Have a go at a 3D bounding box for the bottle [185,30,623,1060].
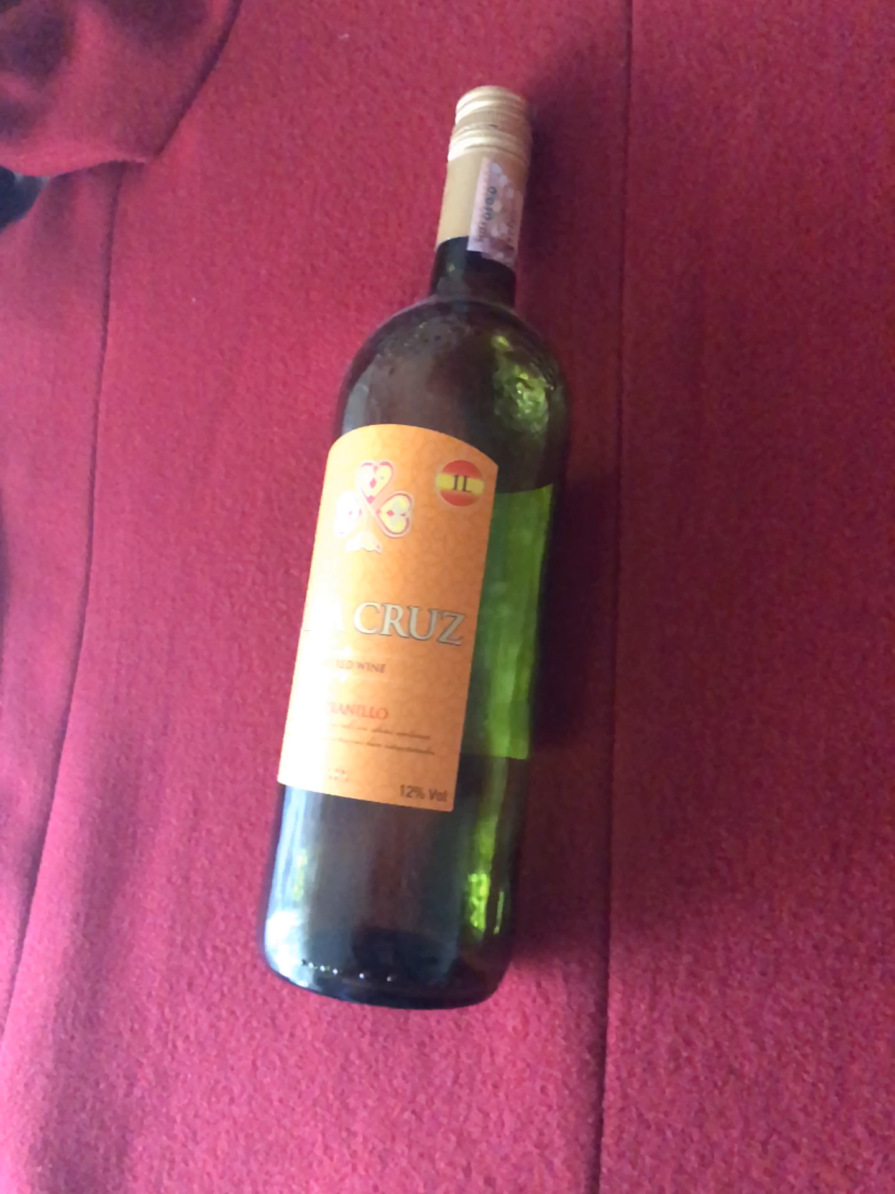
[{"bbox_3d":[-0.007,-0.021,0.331,0.080,0.070,0.300,2,79,31],"label":"bottle"}]
